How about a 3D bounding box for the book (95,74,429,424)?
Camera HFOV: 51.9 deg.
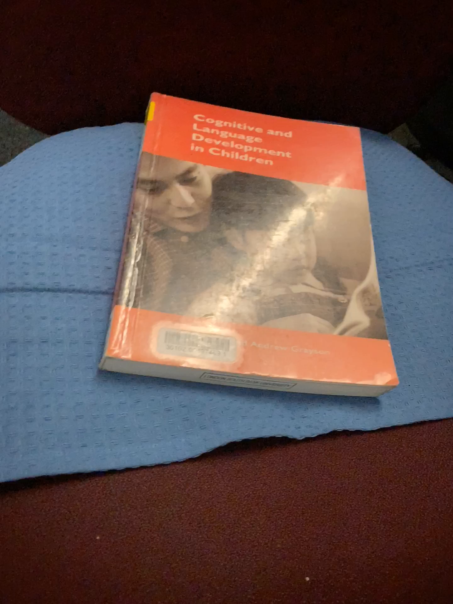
[{"bbox_3d":[0.024,-0.053,0.366,0.200,0.060,0.272,5,61,-5],"label":"book"}]
